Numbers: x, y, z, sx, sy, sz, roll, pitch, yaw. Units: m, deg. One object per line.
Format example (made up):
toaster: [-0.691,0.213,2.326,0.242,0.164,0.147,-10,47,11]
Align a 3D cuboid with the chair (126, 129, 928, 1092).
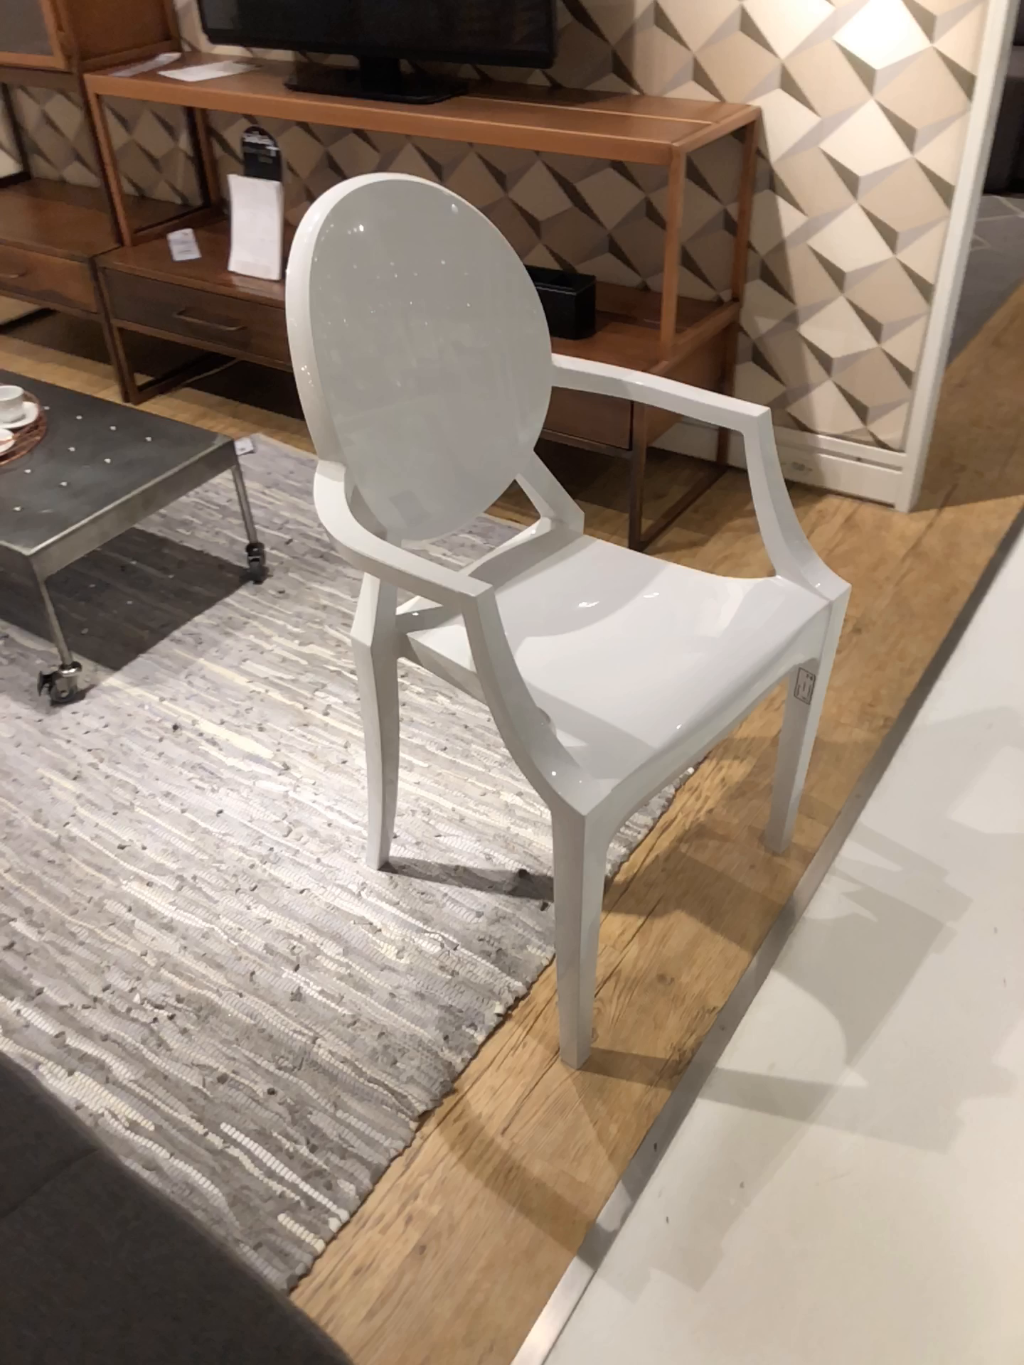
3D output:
chair: [0.034,-0.102,1.306,0.552,0.843,0.513,26,46,33]
